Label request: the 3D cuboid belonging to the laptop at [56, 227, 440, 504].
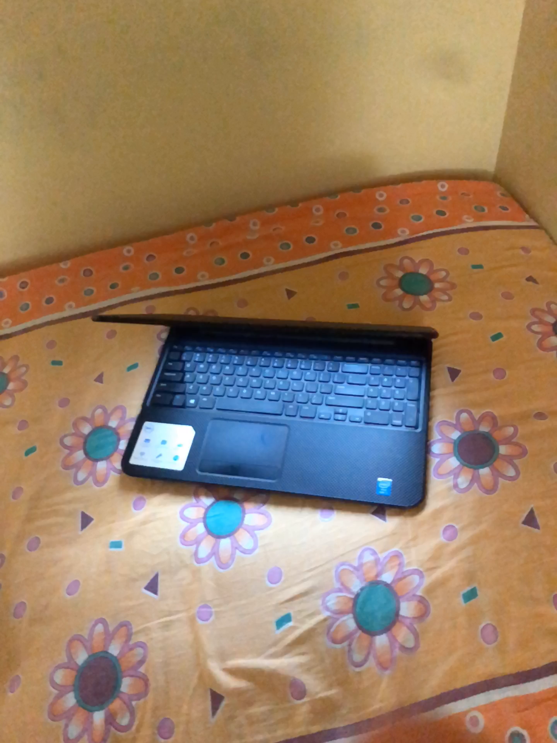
[{"bbox_3d":[-0.011,-0.014,0.717,0.366,0.190,0.238,4,56,13],"label":"laptop"}]
